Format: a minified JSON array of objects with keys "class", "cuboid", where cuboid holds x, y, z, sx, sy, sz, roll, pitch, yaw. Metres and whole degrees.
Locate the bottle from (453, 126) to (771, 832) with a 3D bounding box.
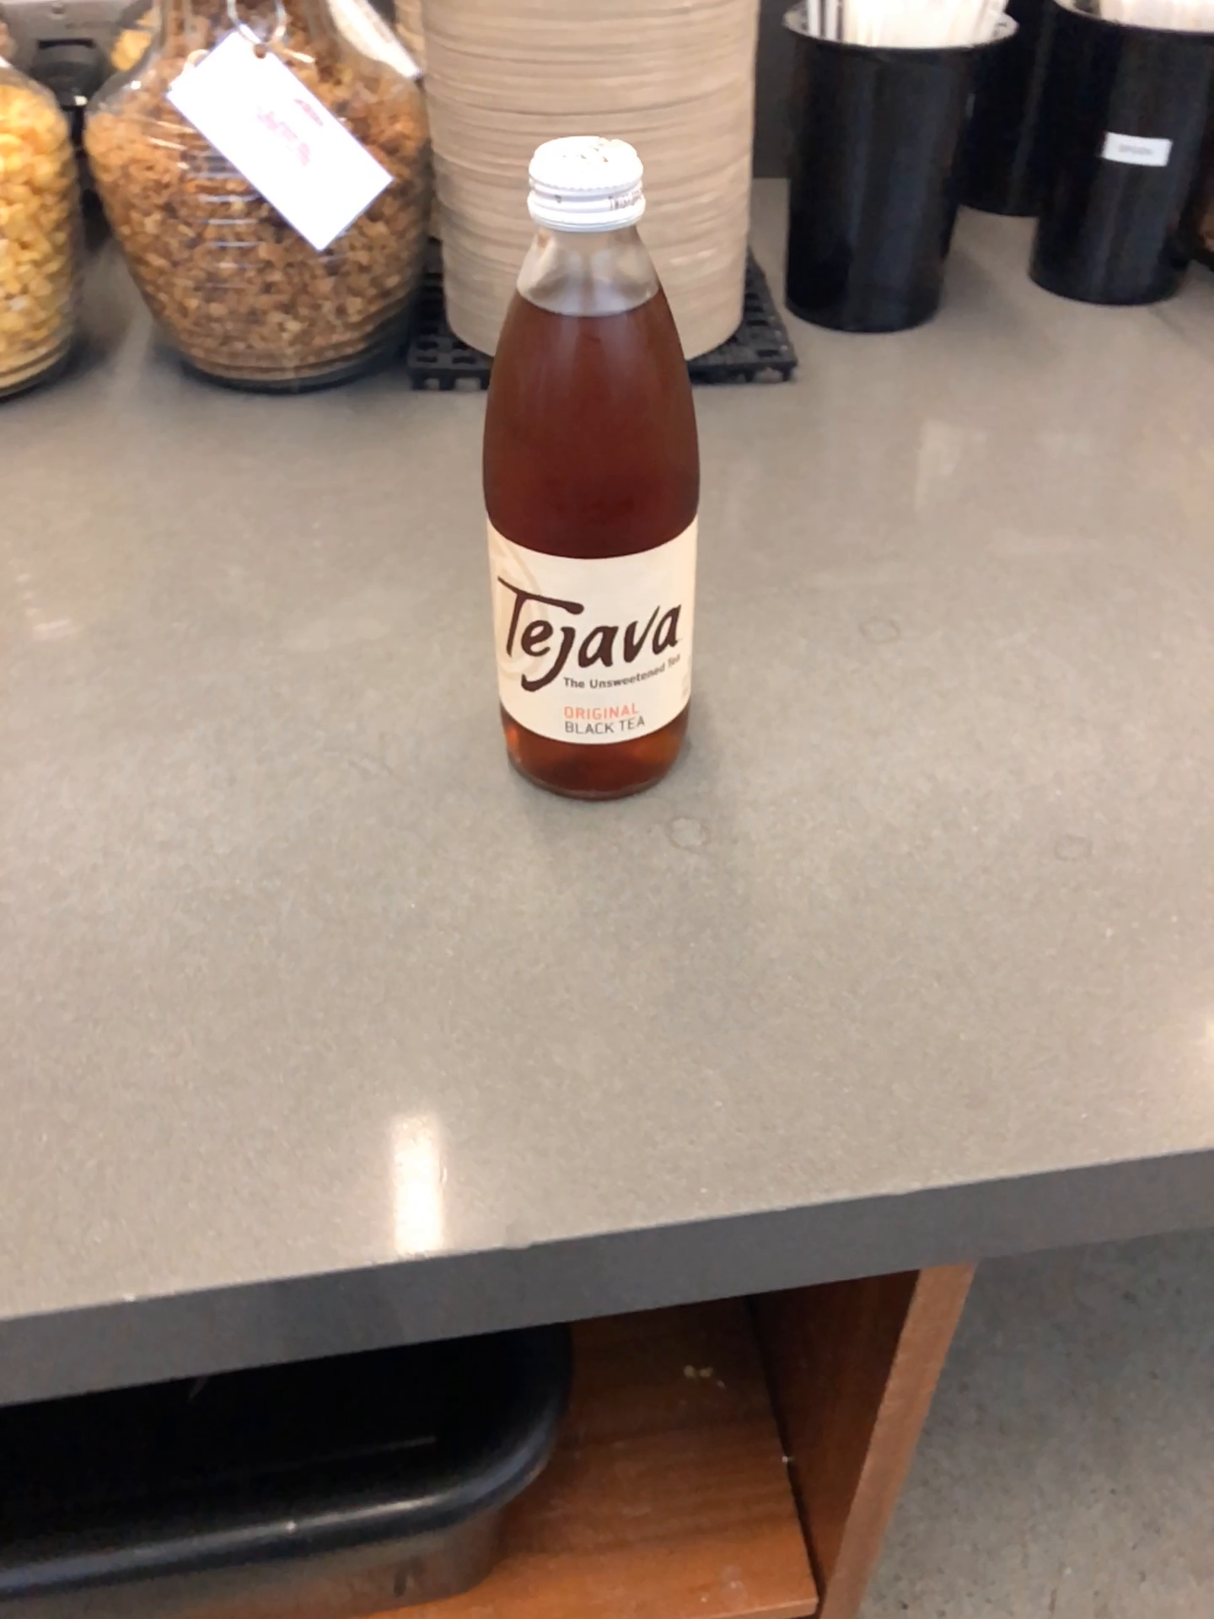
[{"class":"bottle","cuboid":[-0.002,-0.090,0.404,0.070,0.189,0.070,0,42,0]}]
